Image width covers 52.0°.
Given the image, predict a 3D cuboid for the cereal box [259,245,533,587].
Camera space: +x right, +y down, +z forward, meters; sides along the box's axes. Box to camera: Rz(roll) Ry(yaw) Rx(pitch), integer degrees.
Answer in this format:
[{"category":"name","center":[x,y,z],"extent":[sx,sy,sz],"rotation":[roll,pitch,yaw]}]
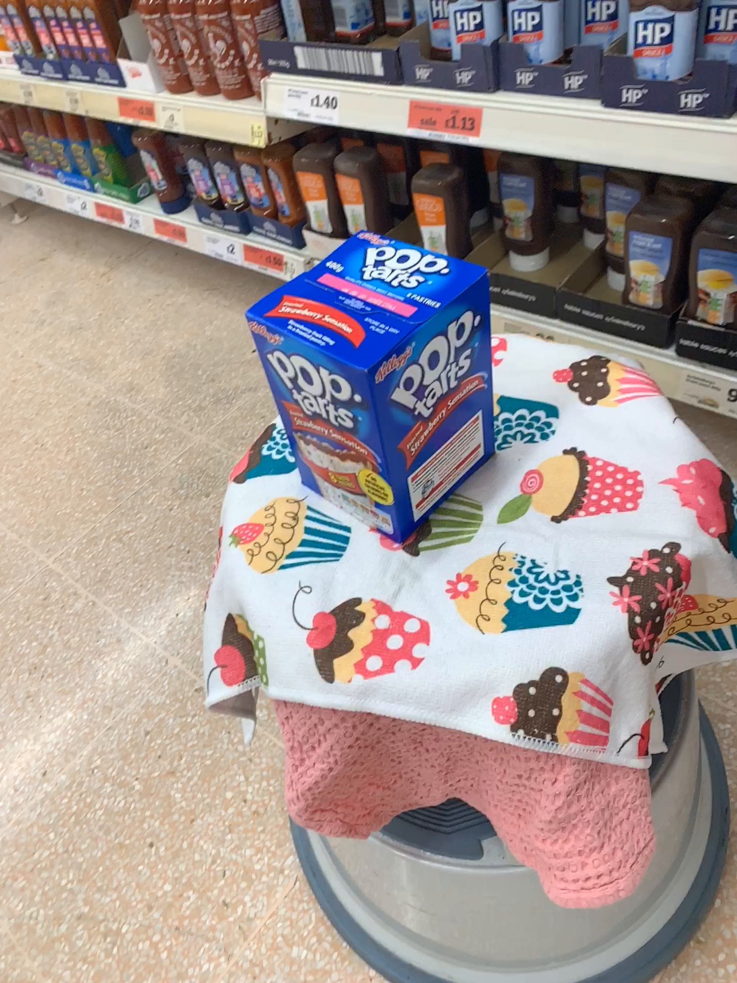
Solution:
[{"category":"cereal box","center":[0.023,-0.042,0.427],"extent":[0.091,0.139,0.100],"rotation":[30,60,36]}]
